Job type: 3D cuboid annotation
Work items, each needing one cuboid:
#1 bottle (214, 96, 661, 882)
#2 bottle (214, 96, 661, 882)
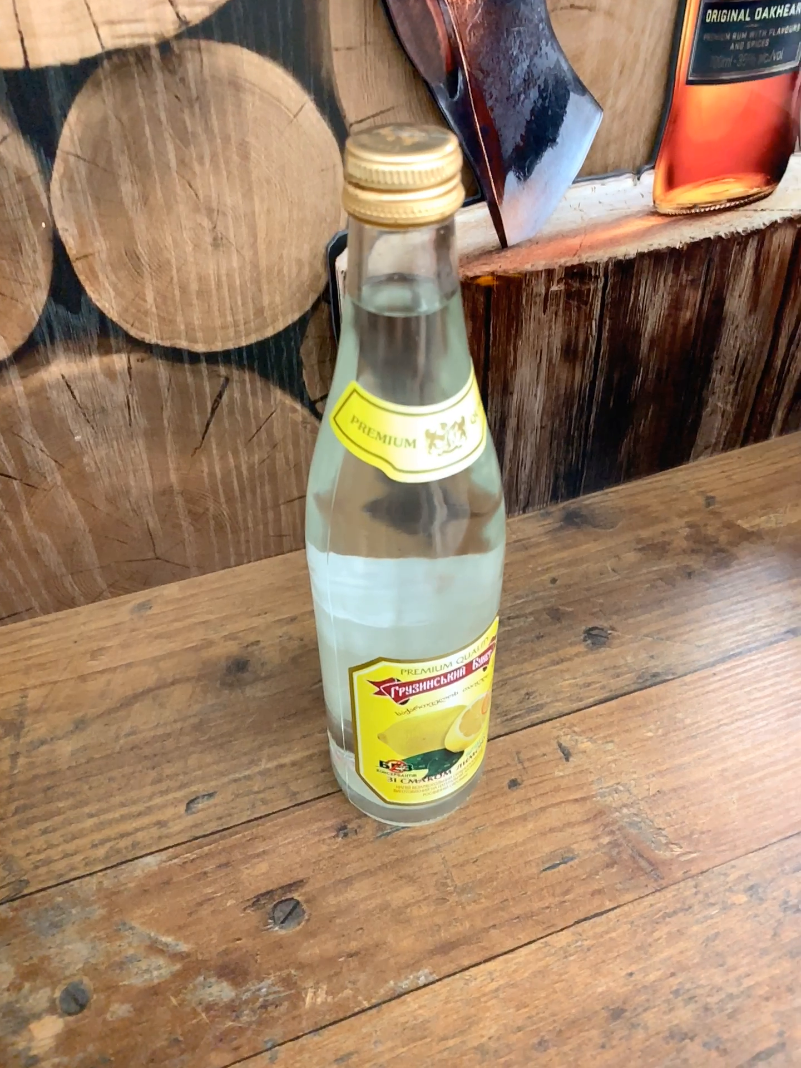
[{"bbox_3d":[0.005,0.005,0.240,0.070,0.219,0.070,-1,41,0],"label":"bottle"},{"bbox_3d":[0.005,0.005,0.240,0.070,0.219,0.070,-1,41,0],"label":"bottle"}]
